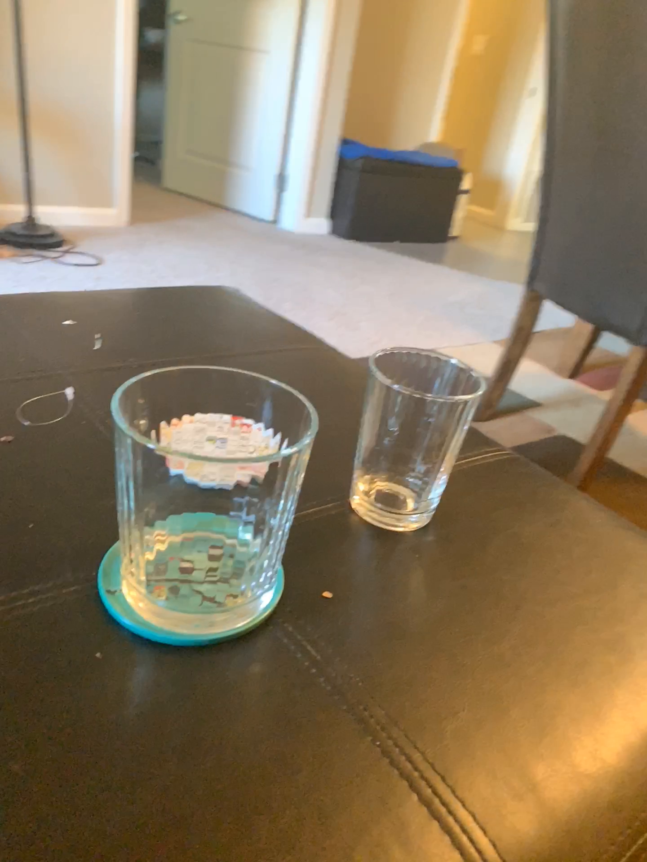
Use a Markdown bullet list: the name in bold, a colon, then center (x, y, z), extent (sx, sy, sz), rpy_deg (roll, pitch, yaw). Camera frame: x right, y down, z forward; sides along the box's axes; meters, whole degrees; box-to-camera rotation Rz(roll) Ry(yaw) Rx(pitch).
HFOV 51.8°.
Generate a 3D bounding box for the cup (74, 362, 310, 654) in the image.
- **cup**: center (-0.059, 0.030, 0.285), extent (0.080, 0.090, 0.080), rpy_deg (8, 27, -4)

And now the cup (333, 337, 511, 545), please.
- **cup**: center (0.049, 0.005, 0.368), extent (0.060, 0.090, 0.070), rpy_deg (3, 28, -14)
